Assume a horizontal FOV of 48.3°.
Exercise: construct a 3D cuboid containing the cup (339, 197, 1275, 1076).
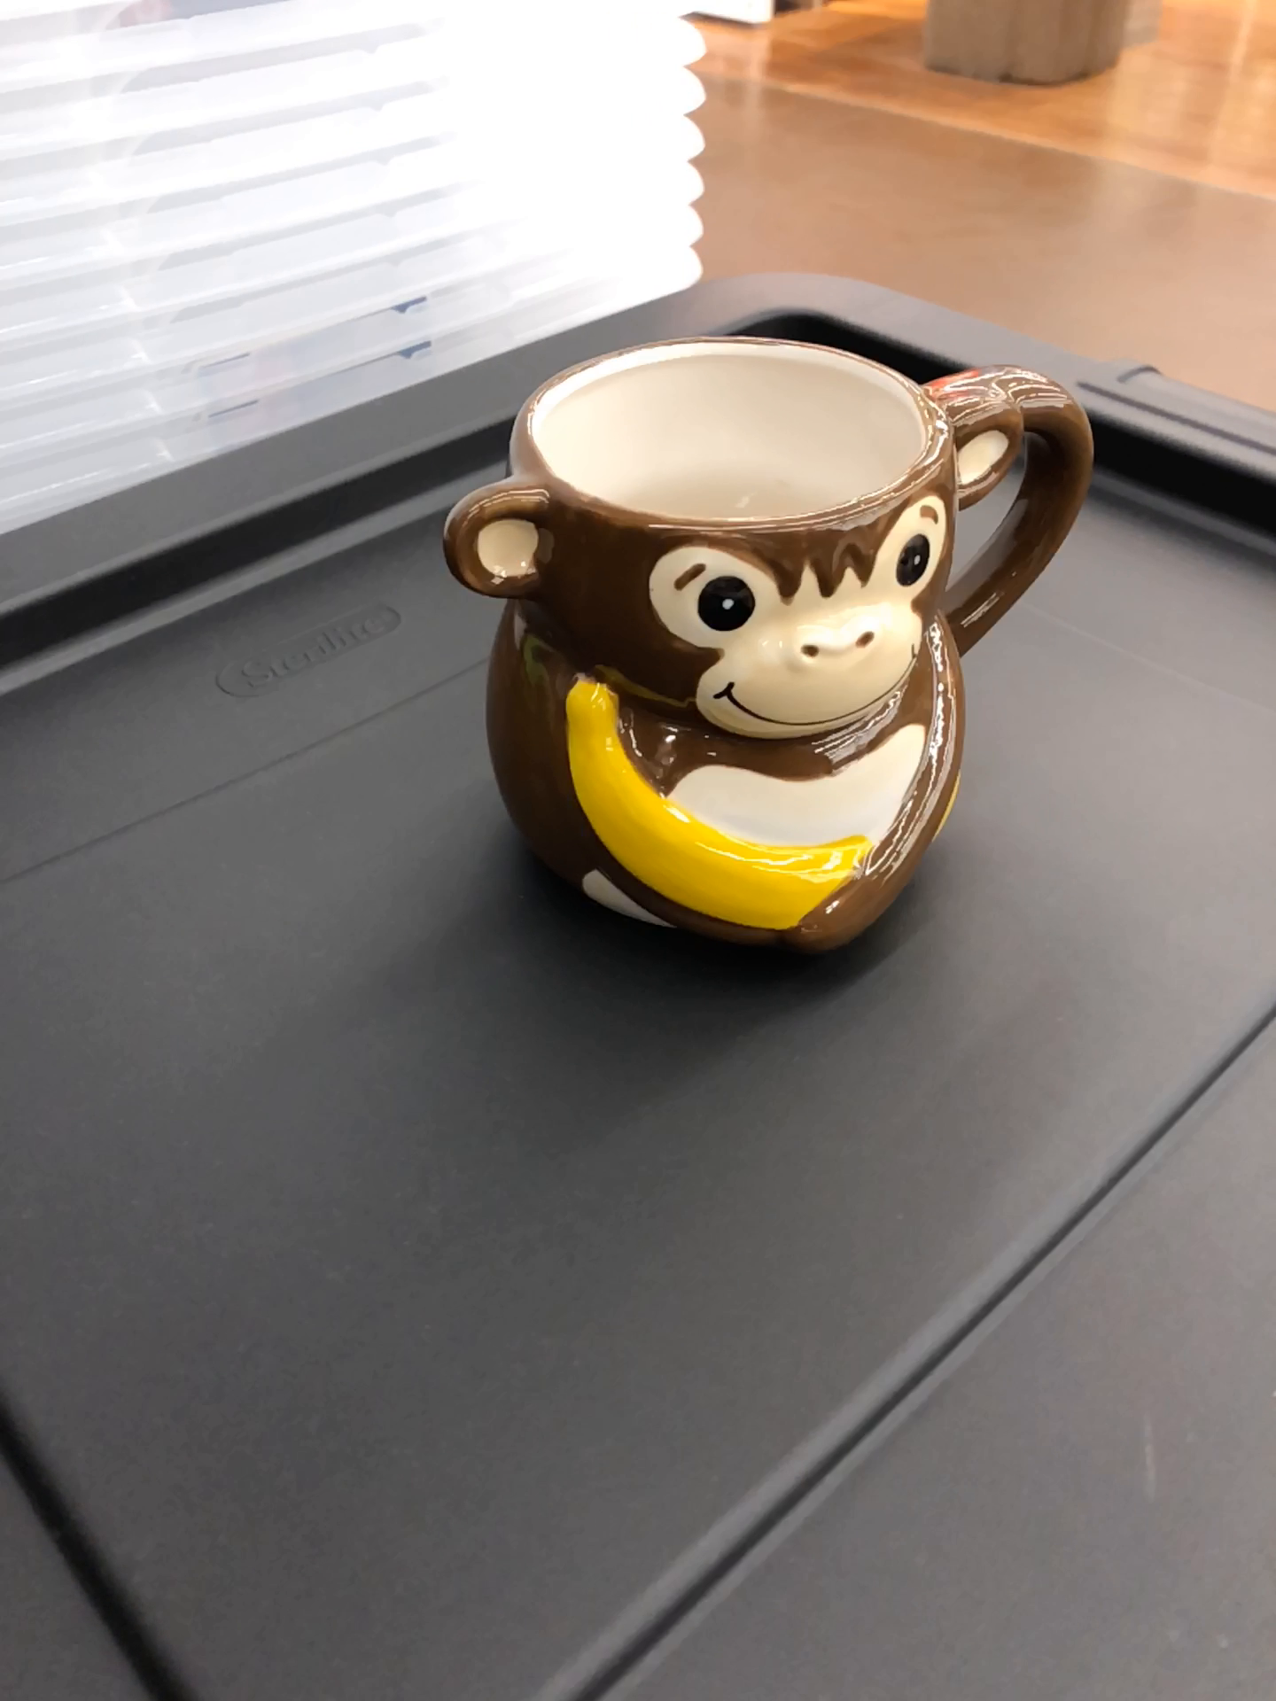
[{"bbox_3d":[0.042,-0.055,0.291,0.160,0.100,0.110,-22,45,-24],"label":"cup"}]
